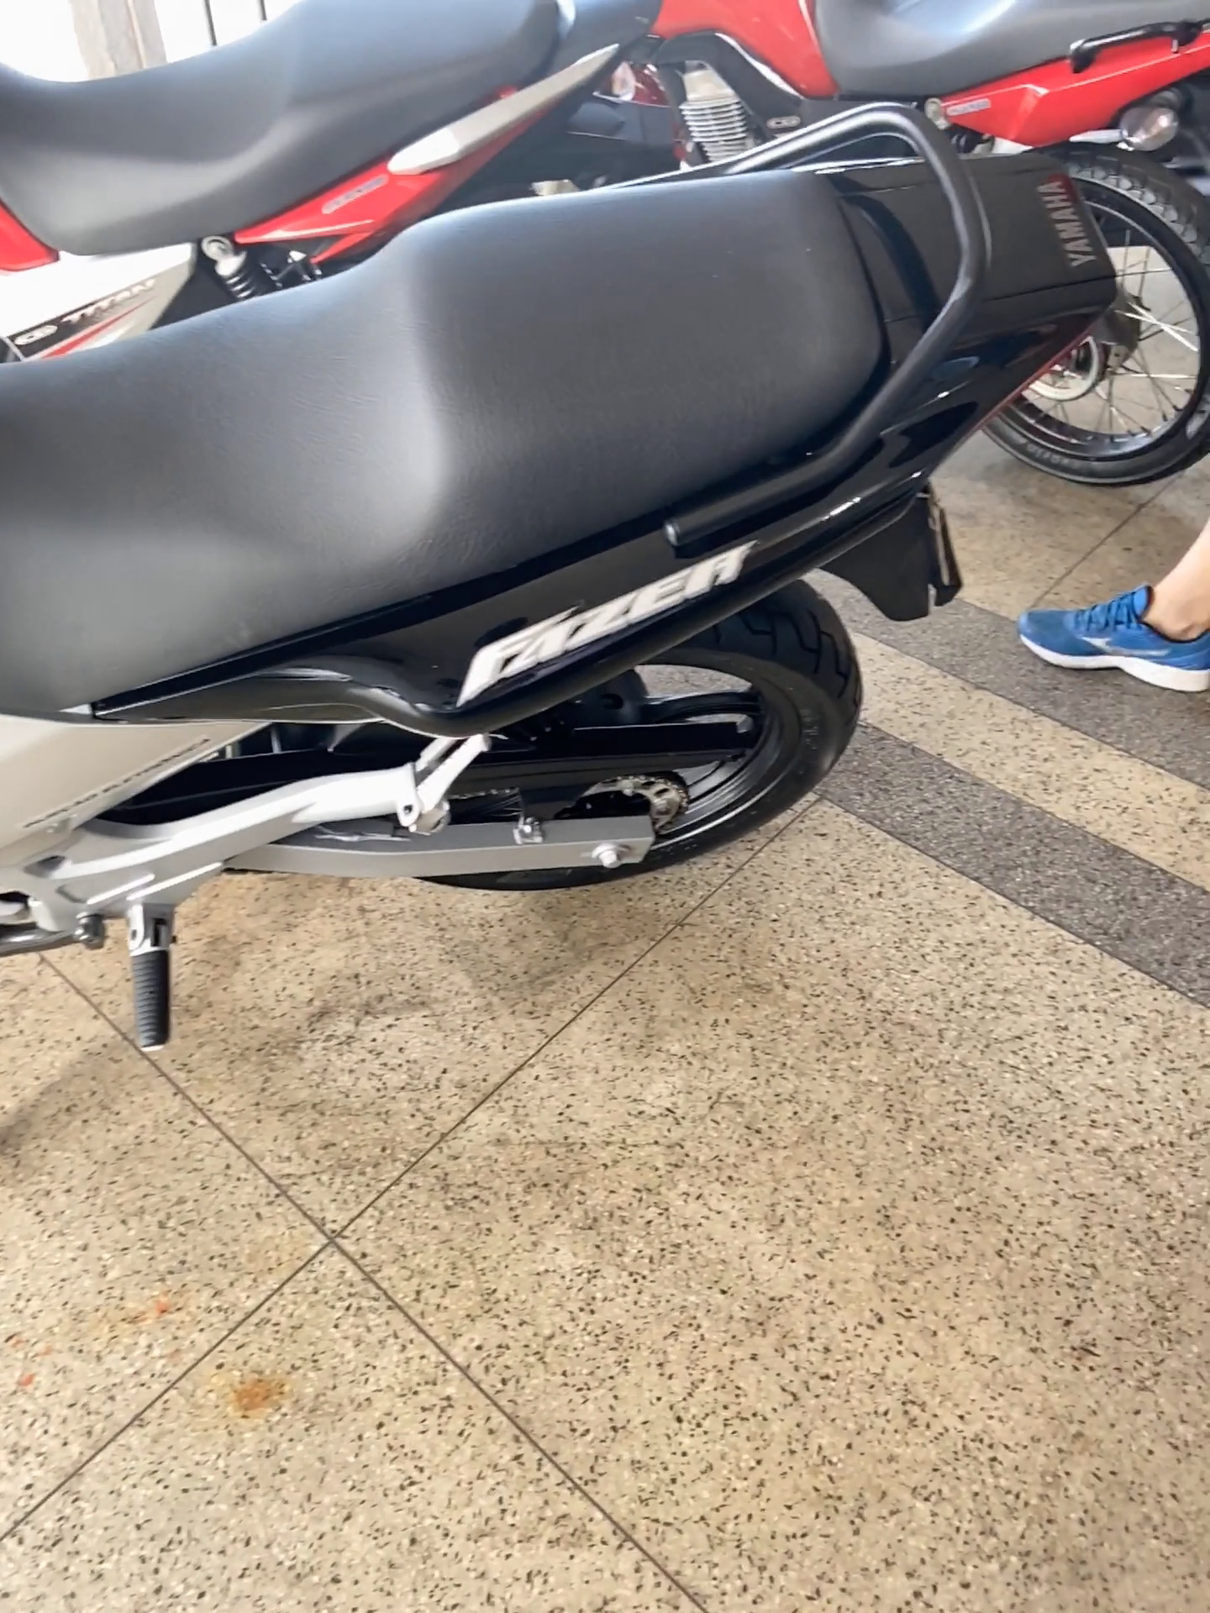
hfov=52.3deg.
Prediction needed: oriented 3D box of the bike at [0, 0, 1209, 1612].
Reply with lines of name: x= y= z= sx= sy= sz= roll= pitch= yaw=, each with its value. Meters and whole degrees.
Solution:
bike: x=-0.595 y=-0.108 z=1.103 sx=1.880 sy=1.511 sz=0.847 roll=-15 pitch=45 yaw=-18
